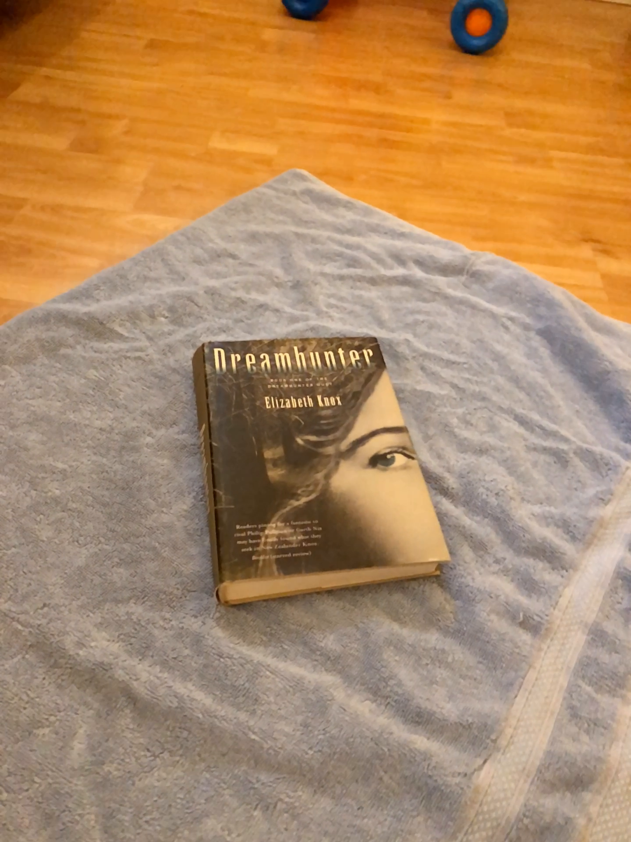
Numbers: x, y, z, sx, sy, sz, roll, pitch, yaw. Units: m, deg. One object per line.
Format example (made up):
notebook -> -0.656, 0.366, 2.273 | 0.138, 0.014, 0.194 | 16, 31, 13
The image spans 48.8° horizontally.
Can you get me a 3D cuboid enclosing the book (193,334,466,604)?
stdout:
book -> -0.003, 0.020, 0.521 | 0.163, 0.030, 0.226 | -3, 46, -11
